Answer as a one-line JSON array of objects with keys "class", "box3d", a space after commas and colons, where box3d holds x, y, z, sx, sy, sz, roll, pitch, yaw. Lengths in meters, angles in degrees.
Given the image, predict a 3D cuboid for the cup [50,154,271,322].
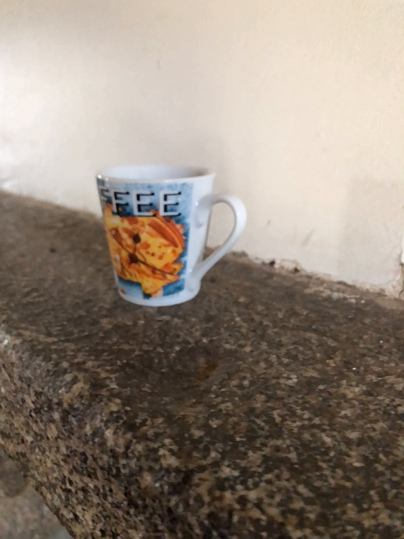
[{"class": "cup", "box3d": [-0.017, -0.021, 0.217, 0.080, 0.060, 0.060, 9, 20, 28]}]
